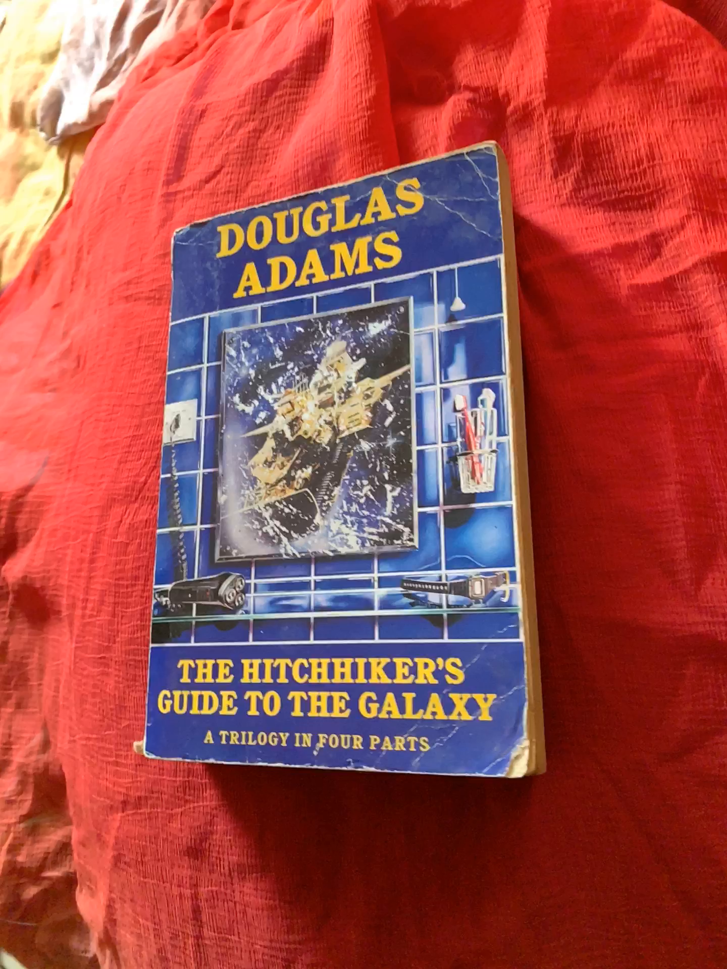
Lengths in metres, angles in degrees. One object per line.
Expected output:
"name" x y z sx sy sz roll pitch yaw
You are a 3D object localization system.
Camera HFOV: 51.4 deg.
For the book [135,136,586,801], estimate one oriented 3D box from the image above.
"book" -0.001 -0.004 0.251 0.130 0.044 0.187 -5 76 22
